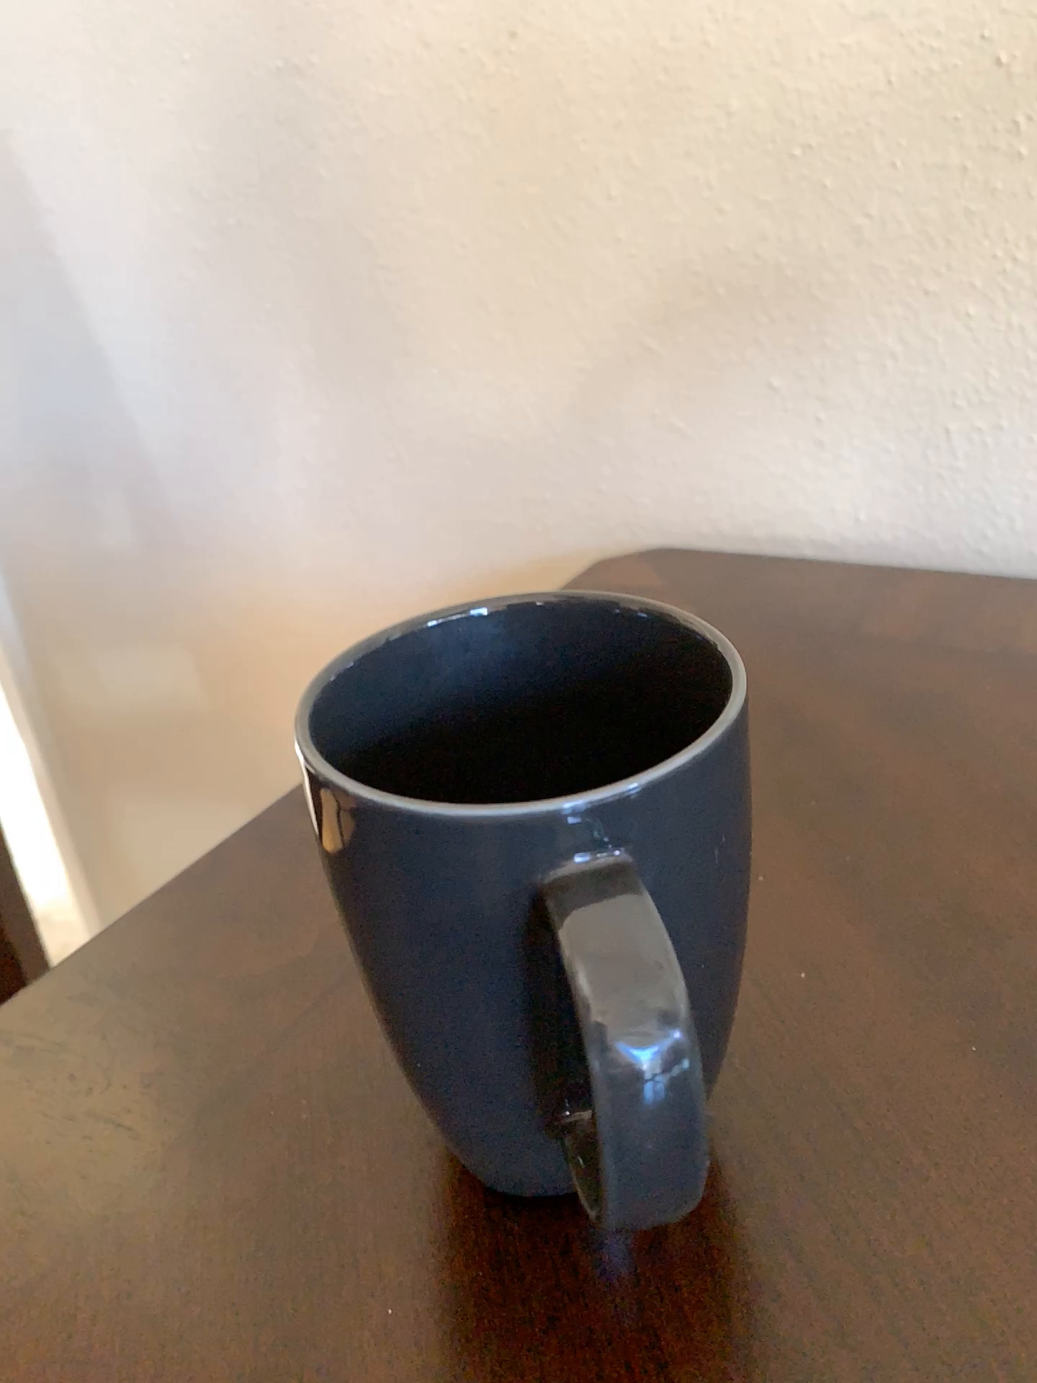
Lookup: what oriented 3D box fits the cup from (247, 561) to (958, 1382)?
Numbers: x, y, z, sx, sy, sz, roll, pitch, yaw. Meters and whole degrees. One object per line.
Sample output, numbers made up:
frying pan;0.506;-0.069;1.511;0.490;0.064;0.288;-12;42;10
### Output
cup;0.007;0.046;0.202;0.089;0.096;0.107;-13;27;-11
